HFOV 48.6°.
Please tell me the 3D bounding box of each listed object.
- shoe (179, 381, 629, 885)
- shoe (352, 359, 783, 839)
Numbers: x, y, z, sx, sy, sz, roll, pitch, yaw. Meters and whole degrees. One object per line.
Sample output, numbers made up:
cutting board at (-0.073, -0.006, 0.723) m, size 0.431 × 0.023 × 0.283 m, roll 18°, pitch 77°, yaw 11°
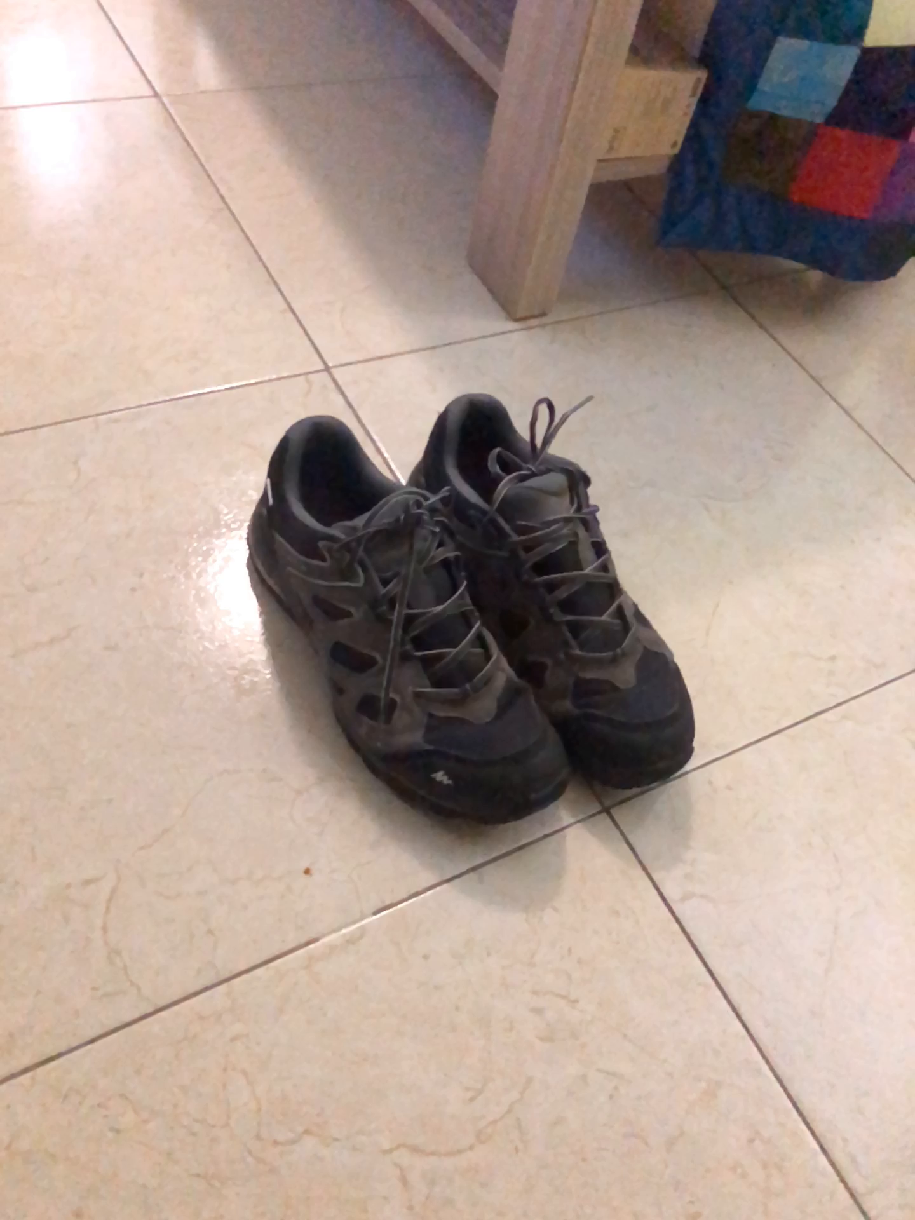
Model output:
shoe at (-0.050, 0.003, 0.664) m, size 0.120 × 0.110 × 0.310 m, roll -27°, pitch 63°, yaw -29°
shoe at (0.057, -0.020, 0.698) m, size 0.120 × 0.110 × 0.311 m, roll -21°, pitch 60°, yaw -26°
